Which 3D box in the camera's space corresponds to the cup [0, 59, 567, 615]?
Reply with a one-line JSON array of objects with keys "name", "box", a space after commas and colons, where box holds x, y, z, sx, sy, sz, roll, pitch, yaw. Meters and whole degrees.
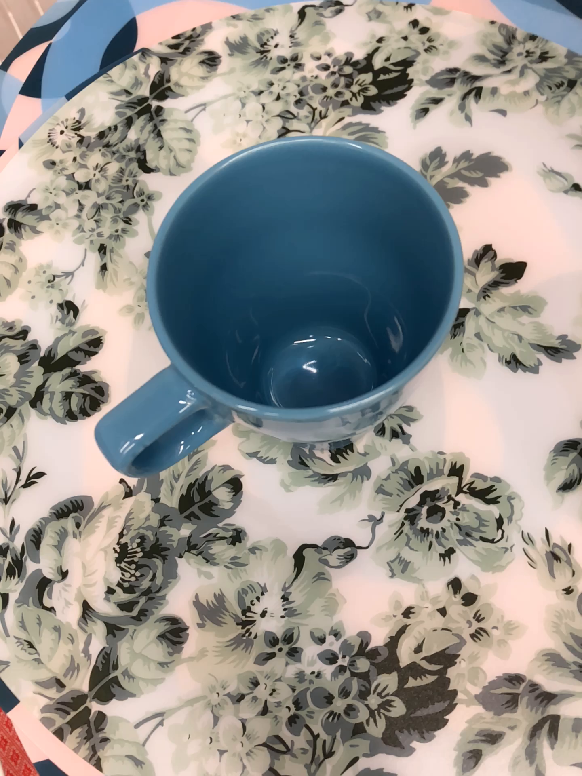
[{"name": "cup", "box": [-0.004, -0.011, 0.198, 0.120, 0.080, 0.090, -41, 69, -10]}]
